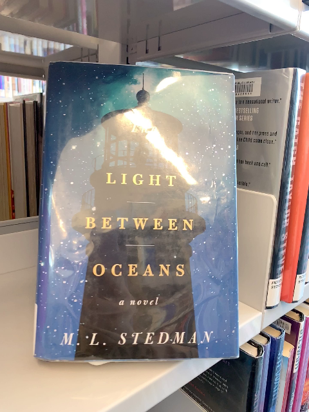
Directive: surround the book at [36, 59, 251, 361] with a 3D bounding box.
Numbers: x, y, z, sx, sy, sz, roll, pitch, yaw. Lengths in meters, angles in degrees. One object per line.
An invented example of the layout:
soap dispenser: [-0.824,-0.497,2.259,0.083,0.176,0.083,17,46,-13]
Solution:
book: [-0.007,0.000,0.265,0.155,0.225,0.042,1,-6,-5]
